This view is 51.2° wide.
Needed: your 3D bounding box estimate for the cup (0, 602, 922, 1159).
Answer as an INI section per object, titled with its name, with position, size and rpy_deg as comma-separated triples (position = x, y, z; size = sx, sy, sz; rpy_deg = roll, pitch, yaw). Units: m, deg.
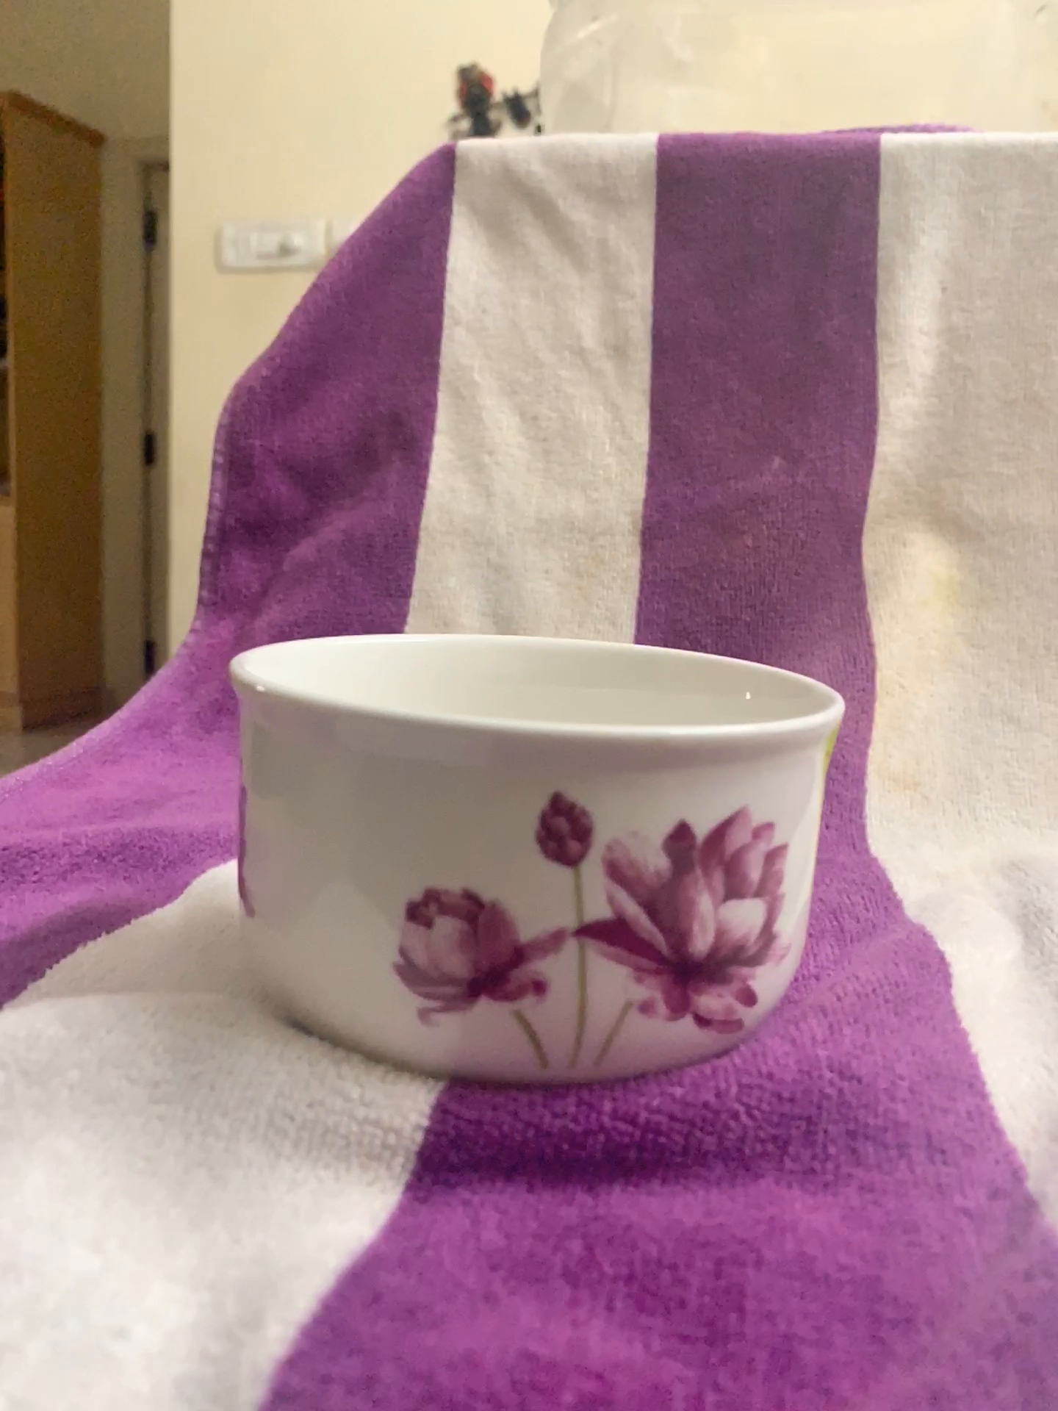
[cup]
position = -0.005, 0.016, 0.182
size = 0.110, 0.050, 0.100
rpy_deg = 3, 10, -1
